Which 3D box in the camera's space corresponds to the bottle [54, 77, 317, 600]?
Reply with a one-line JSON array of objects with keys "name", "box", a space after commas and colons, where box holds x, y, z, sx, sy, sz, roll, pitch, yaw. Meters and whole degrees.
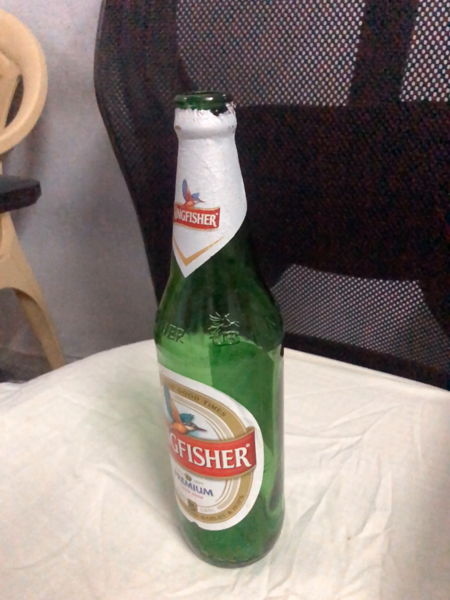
[{"name": "bottle", "box": [-0.009, 0.028, 0.263, 0.080, 0.259, 0.070, 20, 36, 37]}]
